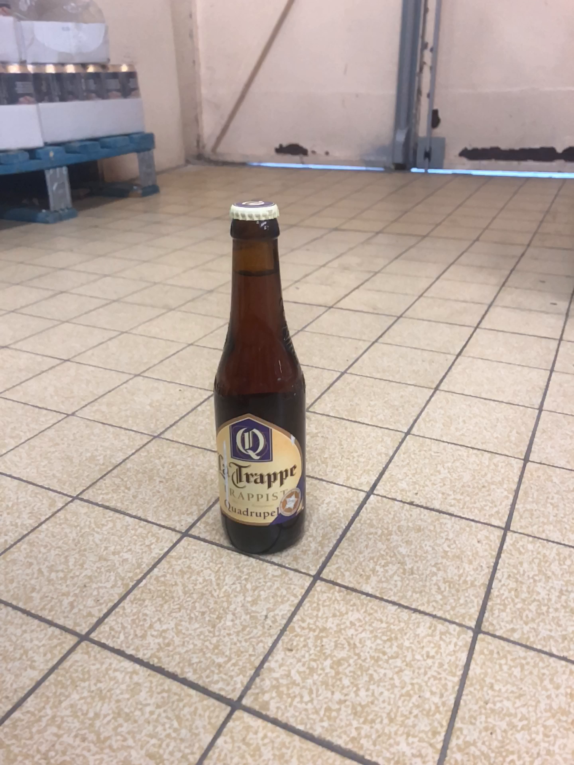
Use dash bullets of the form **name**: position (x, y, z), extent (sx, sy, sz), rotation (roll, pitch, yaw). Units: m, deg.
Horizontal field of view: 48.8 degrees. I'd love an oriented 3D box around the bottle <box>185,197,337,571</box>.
- **bottle**: position (-0.010, 0.003, 0.396), extent (0.070, 0.219, 0.070), rotation (-1, 24, 0)
